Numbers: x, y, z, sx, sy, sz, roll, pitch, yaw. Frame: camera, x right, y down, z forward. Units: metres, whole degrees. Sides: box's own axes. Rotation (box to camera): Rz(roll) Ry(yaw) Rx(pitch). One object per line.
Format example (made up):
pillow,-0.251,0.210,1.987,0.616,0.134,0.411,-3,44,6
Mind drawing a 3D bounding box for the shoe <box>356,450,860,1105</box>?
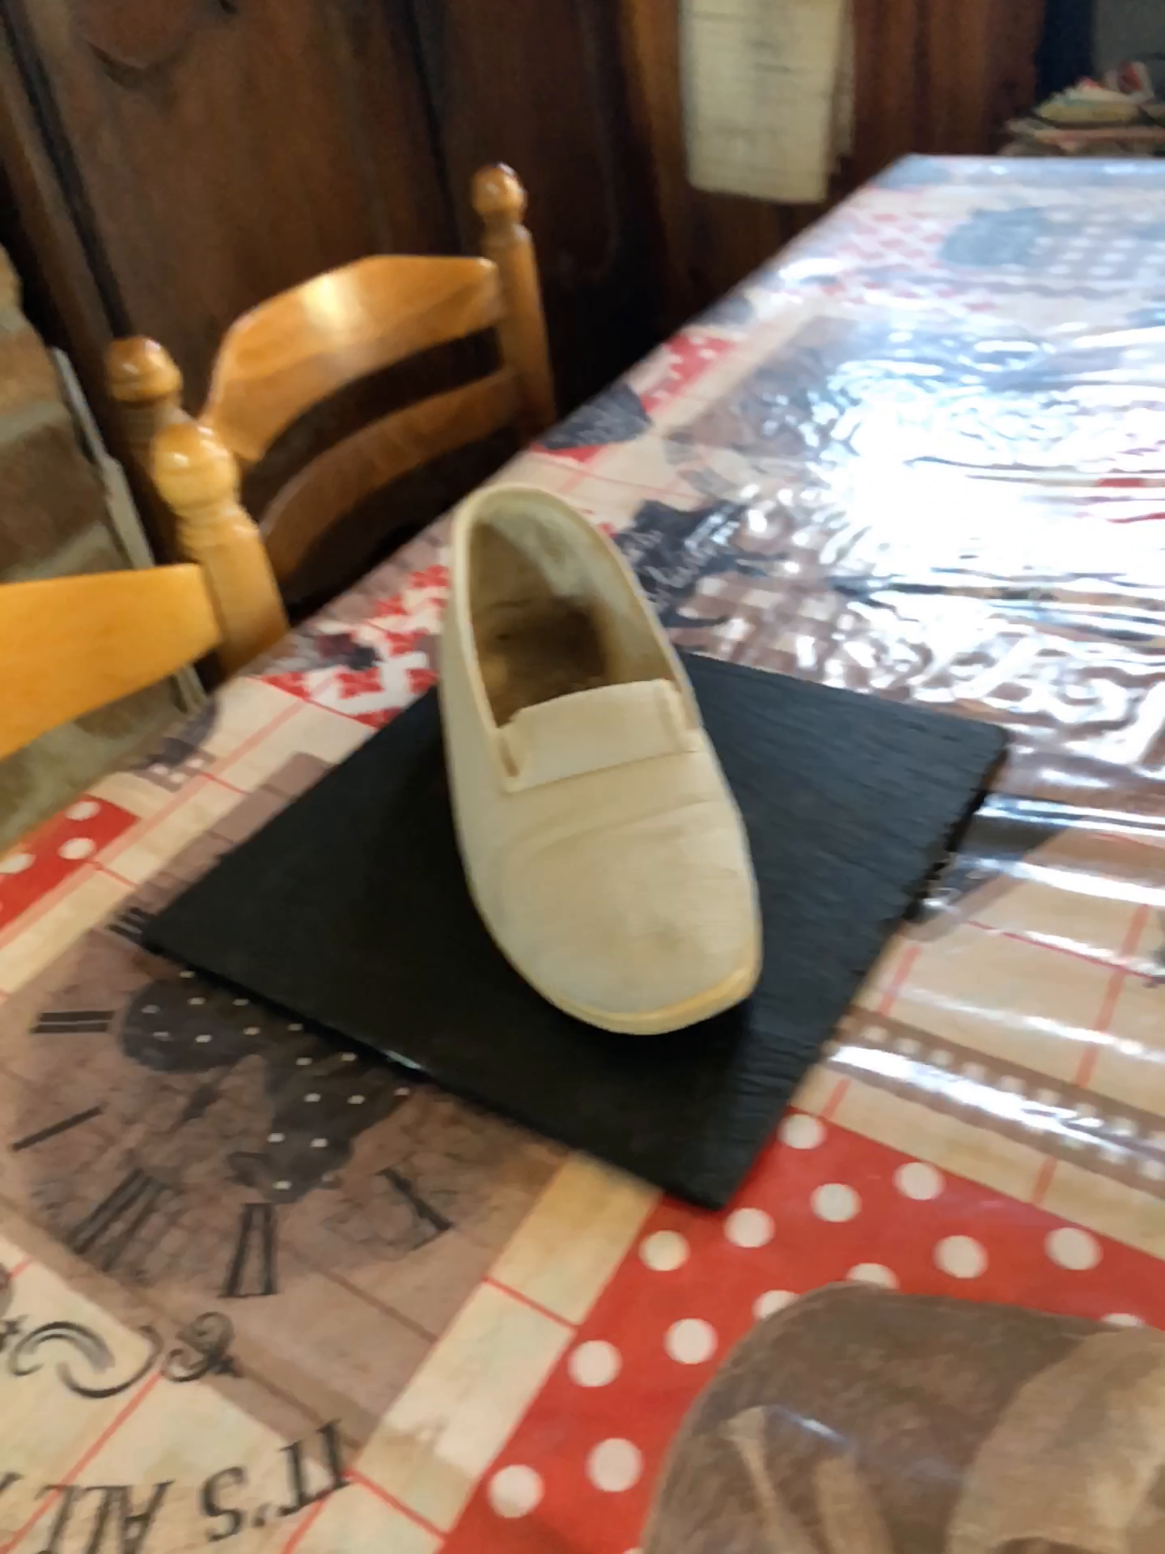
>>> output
shoe,-0.005,-0.021,0.448,0.100,0.080,0.251,-15,37,-8
